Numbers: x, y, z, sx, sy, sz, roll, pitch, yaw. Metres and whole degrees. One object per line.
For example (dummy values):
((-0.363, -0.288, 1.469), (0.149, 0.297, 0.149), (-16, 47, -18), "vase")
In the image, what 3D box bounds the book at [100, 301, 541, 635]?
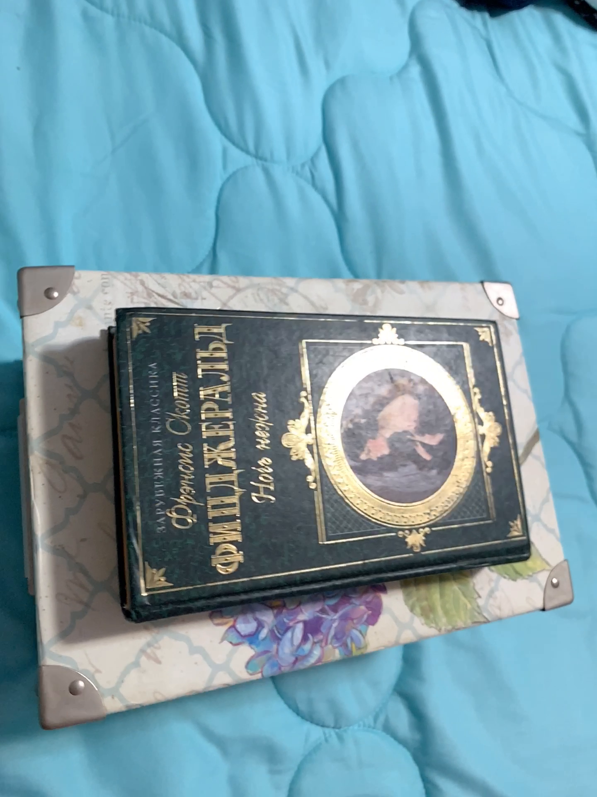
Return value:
((0.018, 0.026, 0.317), (0.221, 0.030, 0.140), (-2, 79, -24), "book")
